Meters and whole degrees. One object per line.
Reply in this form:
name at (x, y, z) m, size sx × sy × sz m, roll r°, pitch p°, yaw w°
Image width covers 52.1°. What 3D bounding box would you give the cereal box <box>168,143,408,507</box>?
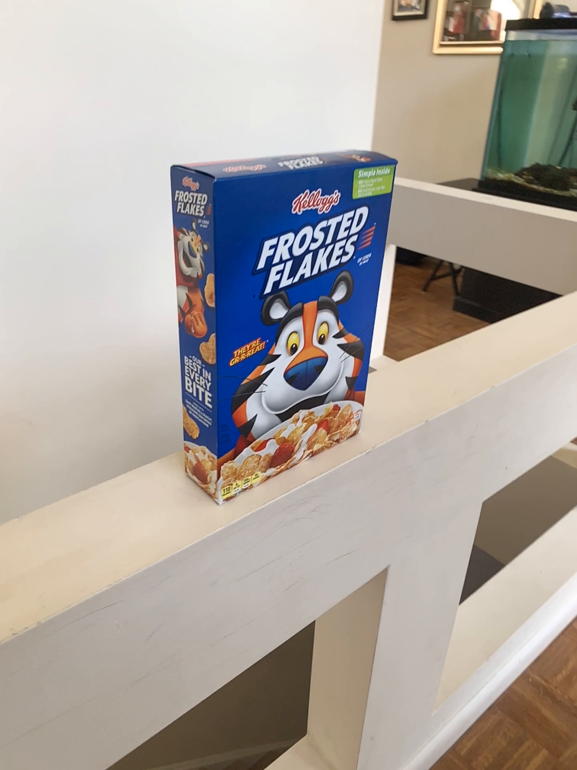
cereal box at (-0.001, -0.057, 0.539) m, size 0.200 × 0.288 × 0.060 m, roll -21°, pitch 38°, yaw -36°
